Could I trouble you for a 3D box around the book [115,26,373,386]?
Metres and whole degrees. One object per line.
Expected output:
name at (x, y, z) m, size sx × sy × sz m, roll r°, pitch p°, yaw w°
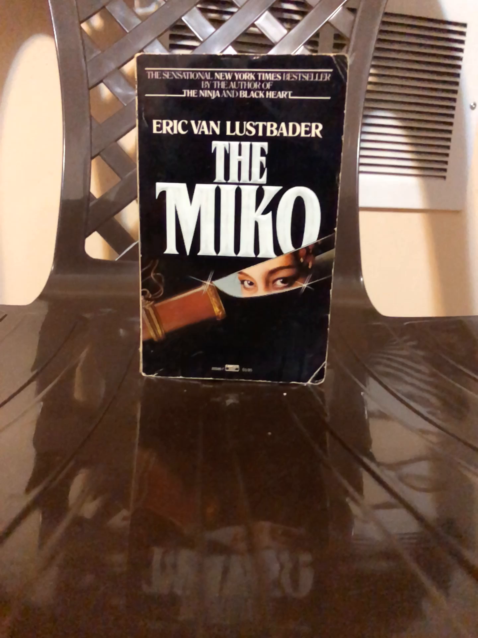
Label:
book at (-0.001, -0.055, 0.284) m, size 0.120 × 0.170 × 0.040 m, roll 3°, pitch 10°, yaw 0°
